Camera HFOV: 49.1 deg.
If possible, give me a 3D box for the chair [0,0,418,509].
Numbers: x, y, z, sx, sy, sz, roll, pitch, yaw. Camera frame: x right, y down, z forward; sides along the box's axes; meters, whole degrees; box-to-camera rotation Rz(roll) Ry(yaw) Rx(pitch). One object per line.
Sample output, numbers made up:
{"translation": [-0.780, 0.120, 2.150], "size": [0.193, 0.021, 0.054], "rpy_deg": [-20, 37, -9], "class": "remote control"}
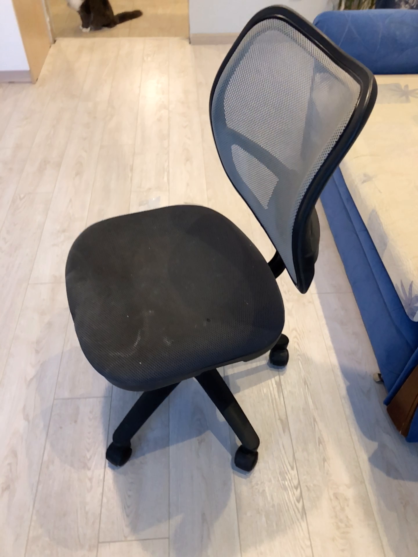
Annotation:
{"translation": [-0.064, -0.077, 0.904], "size": [0.510, 0.735, 0.664], "rpy_deg": [-12, 48, -11], "class": "chair"}
